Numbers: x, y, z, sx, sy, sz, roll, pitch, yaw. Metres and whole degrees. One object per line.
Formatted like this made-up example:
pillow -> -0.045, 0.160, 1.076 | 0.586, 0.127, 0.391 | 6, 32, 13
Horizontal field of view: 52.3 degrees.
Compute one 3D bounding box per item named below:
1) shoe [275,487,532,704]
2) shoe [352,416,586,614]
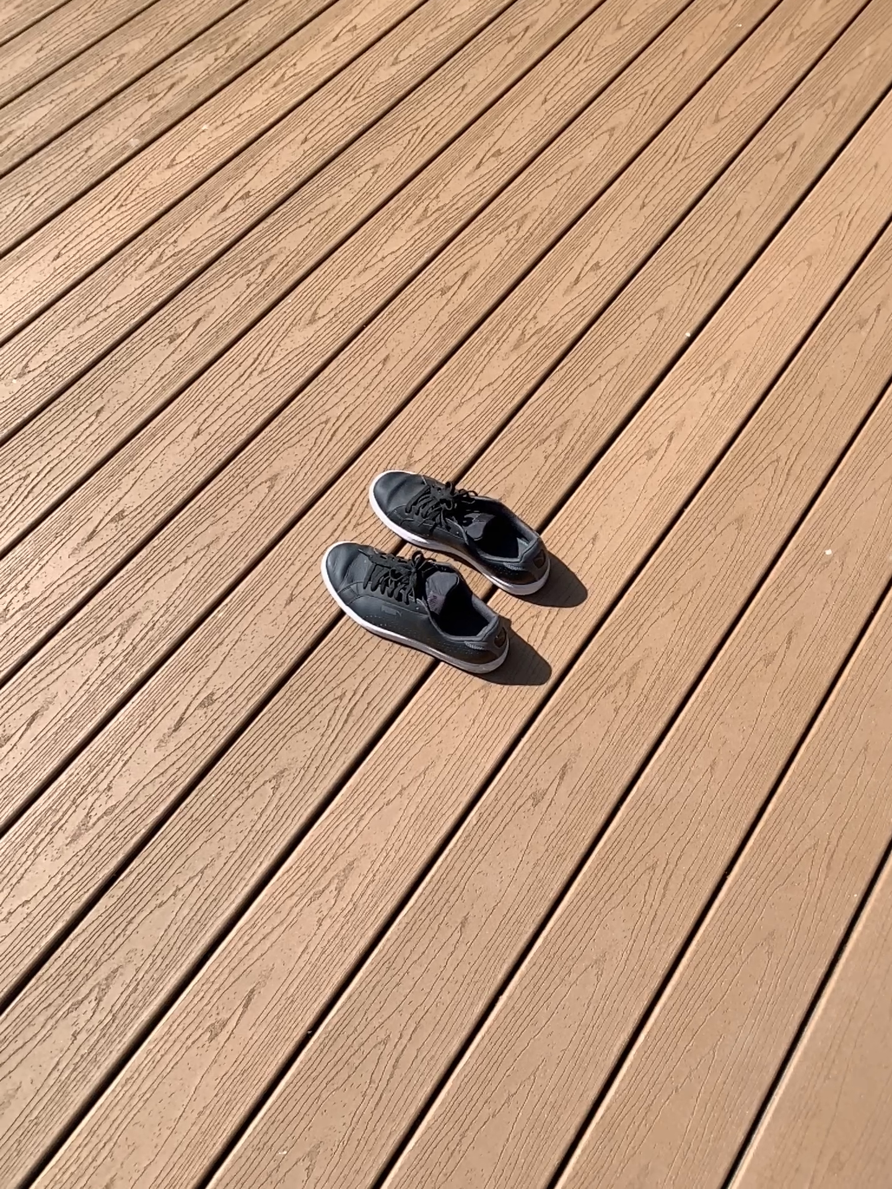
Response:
shoe -> -0.054, 0.000, 1.152 | 0.300, 0.107, 0.112 | 29, 67, 14
shoe -> 0.027, -0.105, 1.198 | 0.280, 0.104, 0.110 | 29, 67, 14
